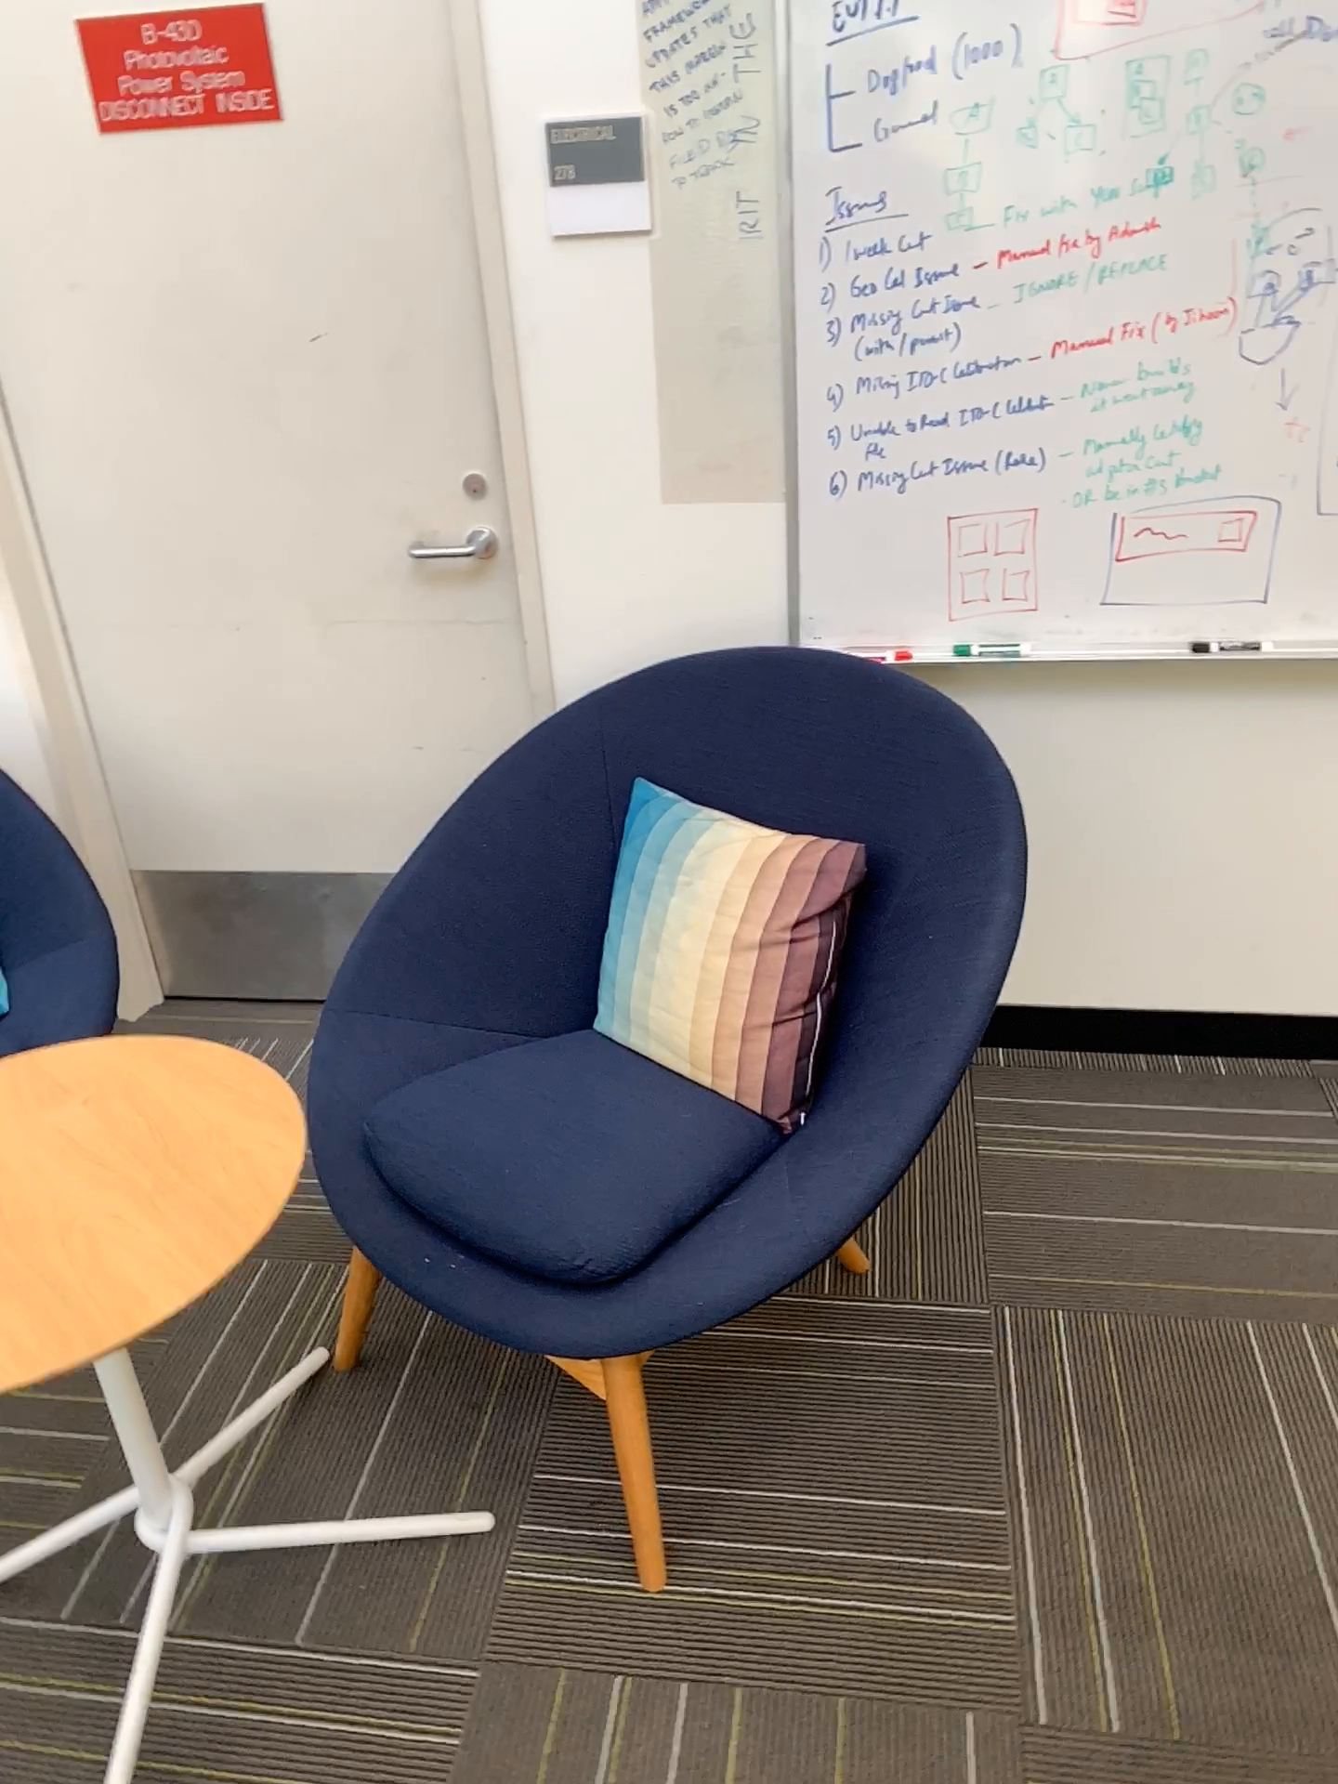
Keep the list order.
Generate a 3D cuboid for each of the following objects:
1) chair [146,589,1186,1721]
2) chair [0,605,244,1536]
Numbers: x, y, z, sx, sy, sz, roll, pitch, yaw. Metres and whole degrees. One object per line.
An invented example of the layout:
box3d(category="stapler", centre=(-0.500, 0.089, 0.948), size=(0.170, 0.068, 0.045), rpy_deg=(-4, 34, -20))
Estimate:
box3d(category="chair", centre=(0.019, 0.224, 1.895), size=(0.981, 0.945, 0.834), rpy_deg=(-24, 34, -33))
box3d(category="chair", centre=(-1.270, 0.153, 1.999), size=(0.791, 0.835, 0.843), rpy_deg=(-26, 35, -36))
